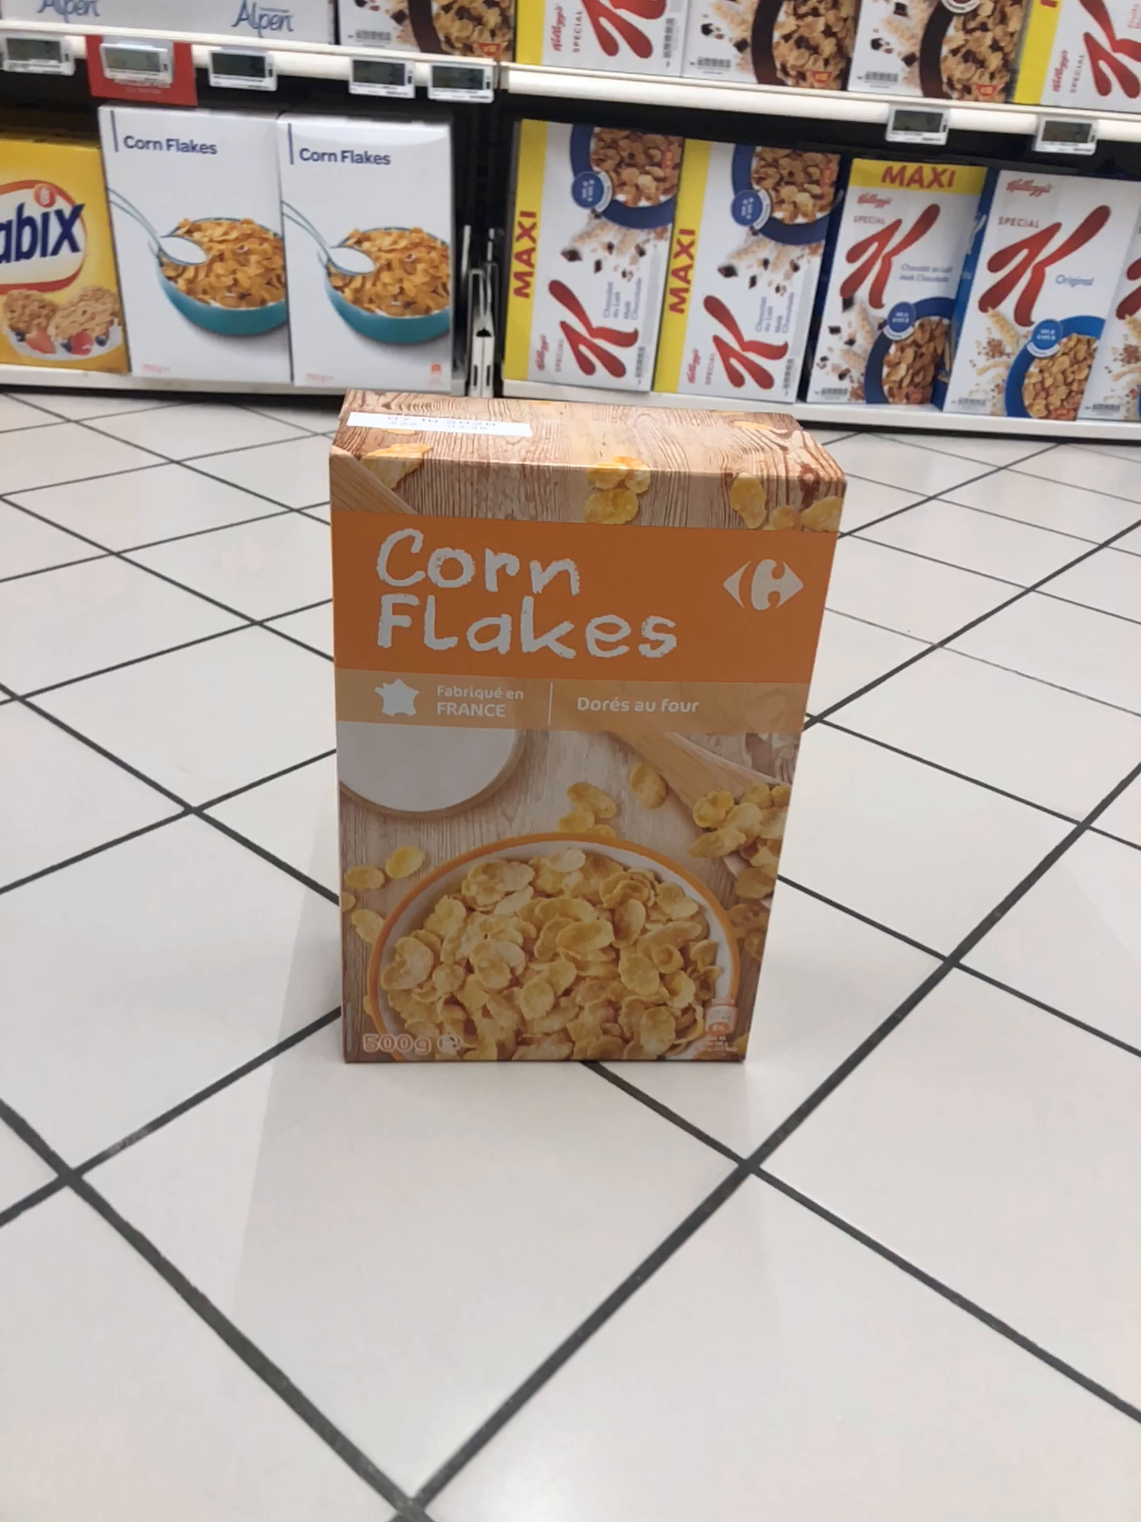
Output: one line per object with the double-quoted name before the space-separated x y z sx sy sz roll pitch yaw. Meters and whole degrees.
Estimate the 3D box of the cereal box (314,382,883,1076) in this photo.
"cereal box" -0.002 -0.006 0.551 0.200 0.278 0.111 1 28 -6
